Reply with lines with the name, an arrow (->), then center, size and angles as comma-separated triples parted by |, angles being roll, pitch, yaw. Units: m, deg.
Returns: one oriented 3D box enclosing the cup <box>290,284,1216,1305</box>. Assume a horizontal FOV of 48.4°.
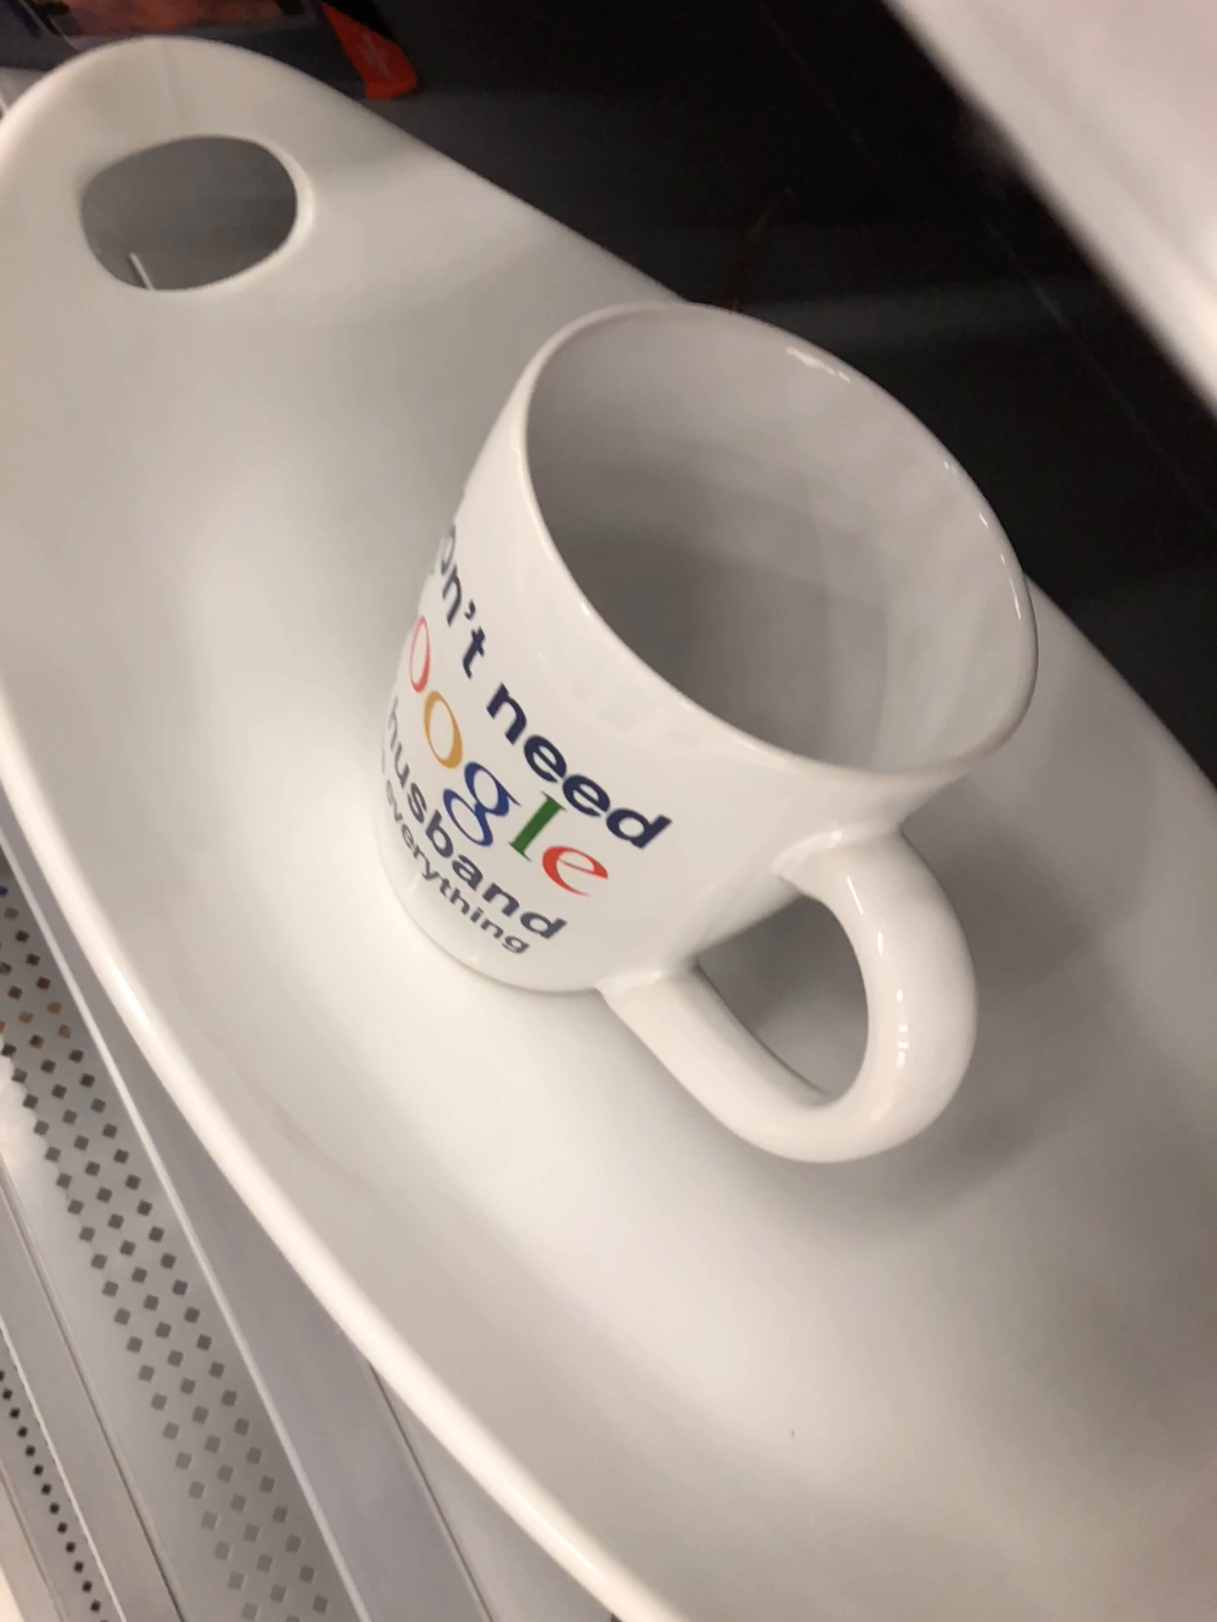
cup -> 0.020, -0.005, 0.273 | 0.104, 0.108, 0.154 | -11, 67, -32
